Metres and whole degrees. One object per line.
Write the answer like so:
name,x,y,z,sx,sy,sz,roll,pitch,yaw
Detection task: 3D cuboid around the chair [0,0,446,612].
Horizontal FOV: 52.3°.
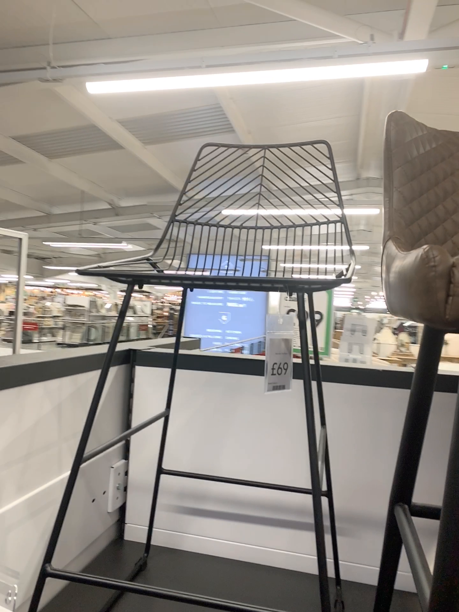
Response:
chair,0.014,0.083,0.786,0.504,0.965,0.529,3,-2,13
